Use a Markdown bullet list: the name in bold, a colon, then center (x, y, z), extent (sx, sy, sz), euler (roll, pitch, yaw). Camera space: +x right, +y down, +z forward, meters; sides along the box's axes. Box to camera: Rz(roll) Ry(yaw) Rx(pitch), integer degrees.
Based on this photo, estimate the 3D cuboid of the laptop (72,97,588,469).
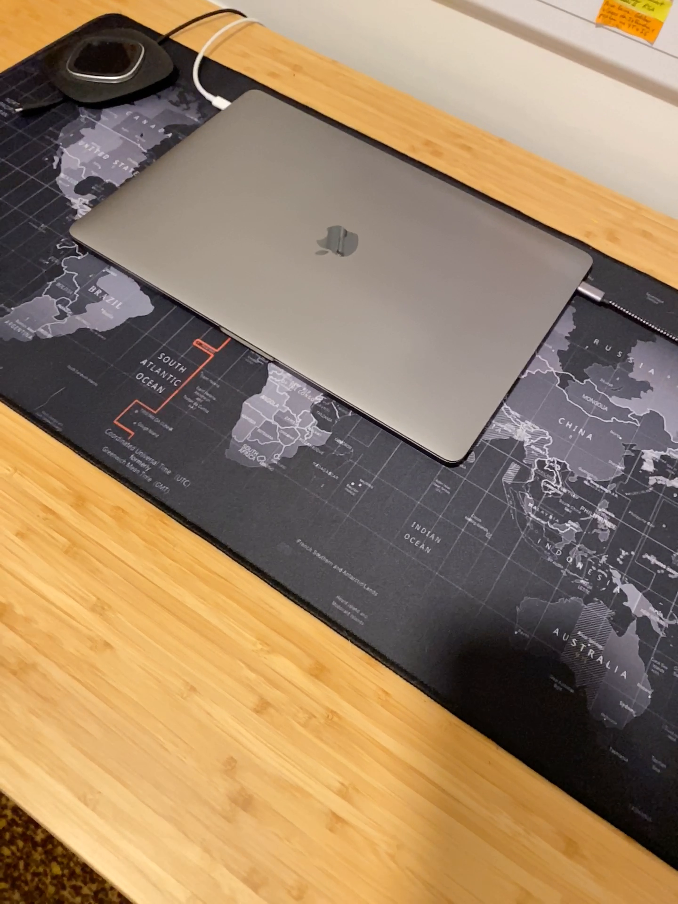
- **laptop**: center (-0.003, -0.156, 0.537), extent (0.336, 0.002, 0.227), euler (32, 62, 14)
